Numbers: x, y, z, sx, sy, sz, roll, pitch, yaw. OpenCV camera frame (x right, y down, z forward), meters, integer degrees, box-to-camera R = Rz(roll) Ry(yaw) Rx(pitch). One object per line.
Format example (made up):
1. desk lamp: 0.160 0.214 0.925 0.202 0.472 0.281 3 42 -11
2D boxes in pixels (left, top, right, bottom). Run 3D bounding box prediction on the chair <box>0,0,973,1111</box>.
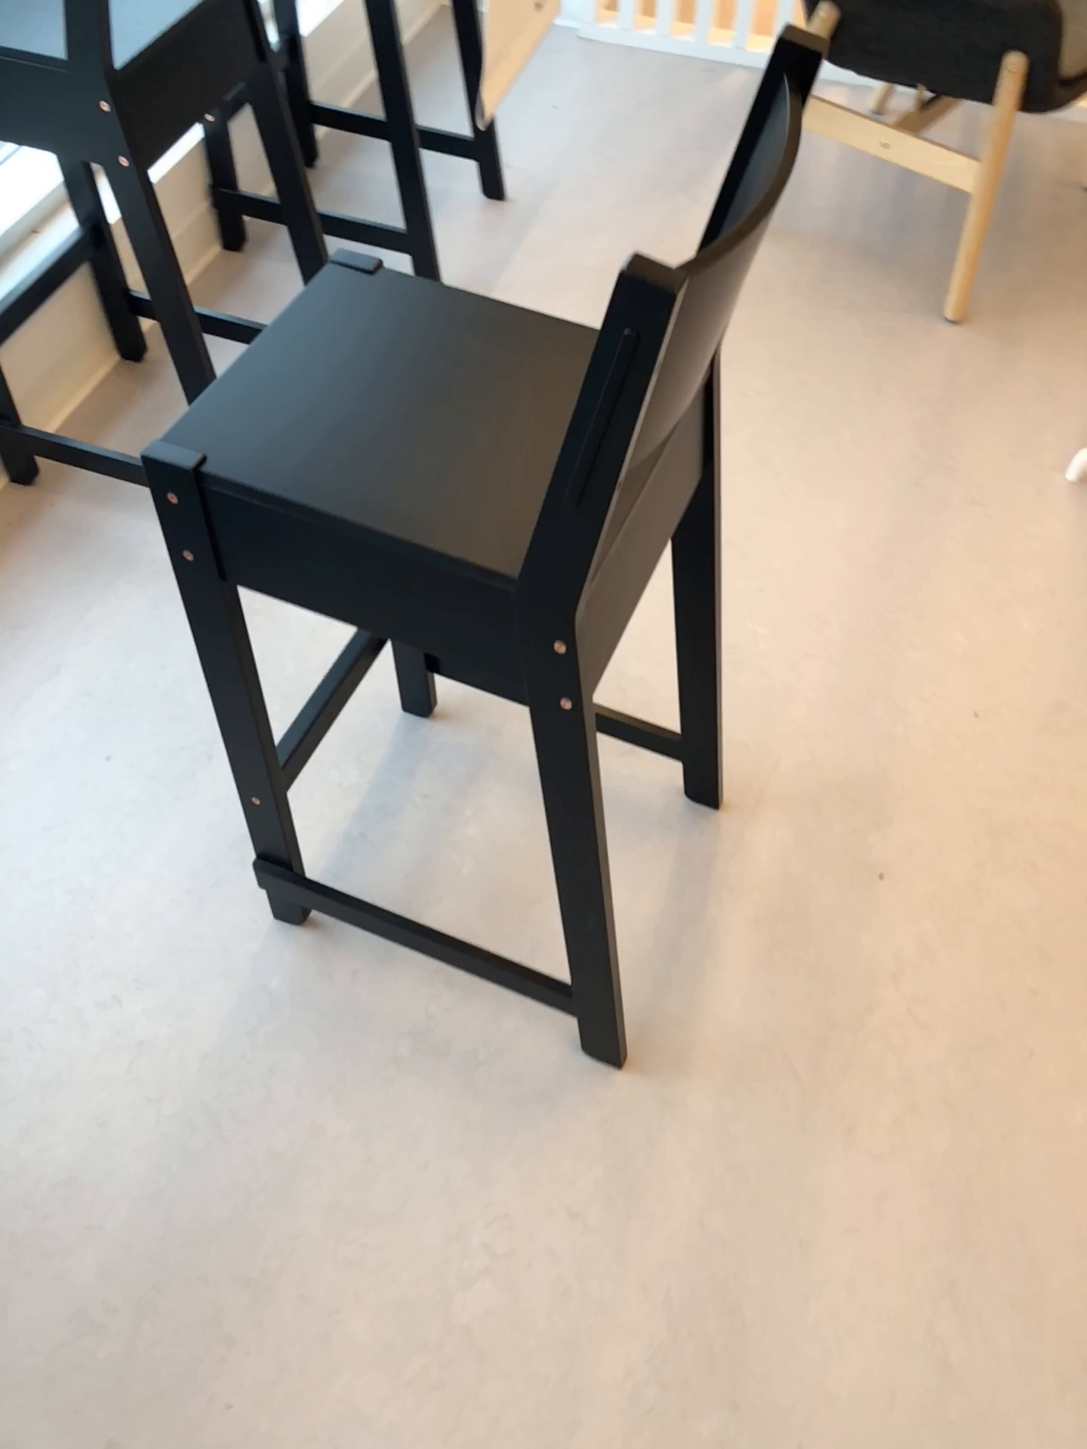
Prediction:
1. chair: -0.070 -0.161 1.161 0.581 0.994 0.553 18 54 12
